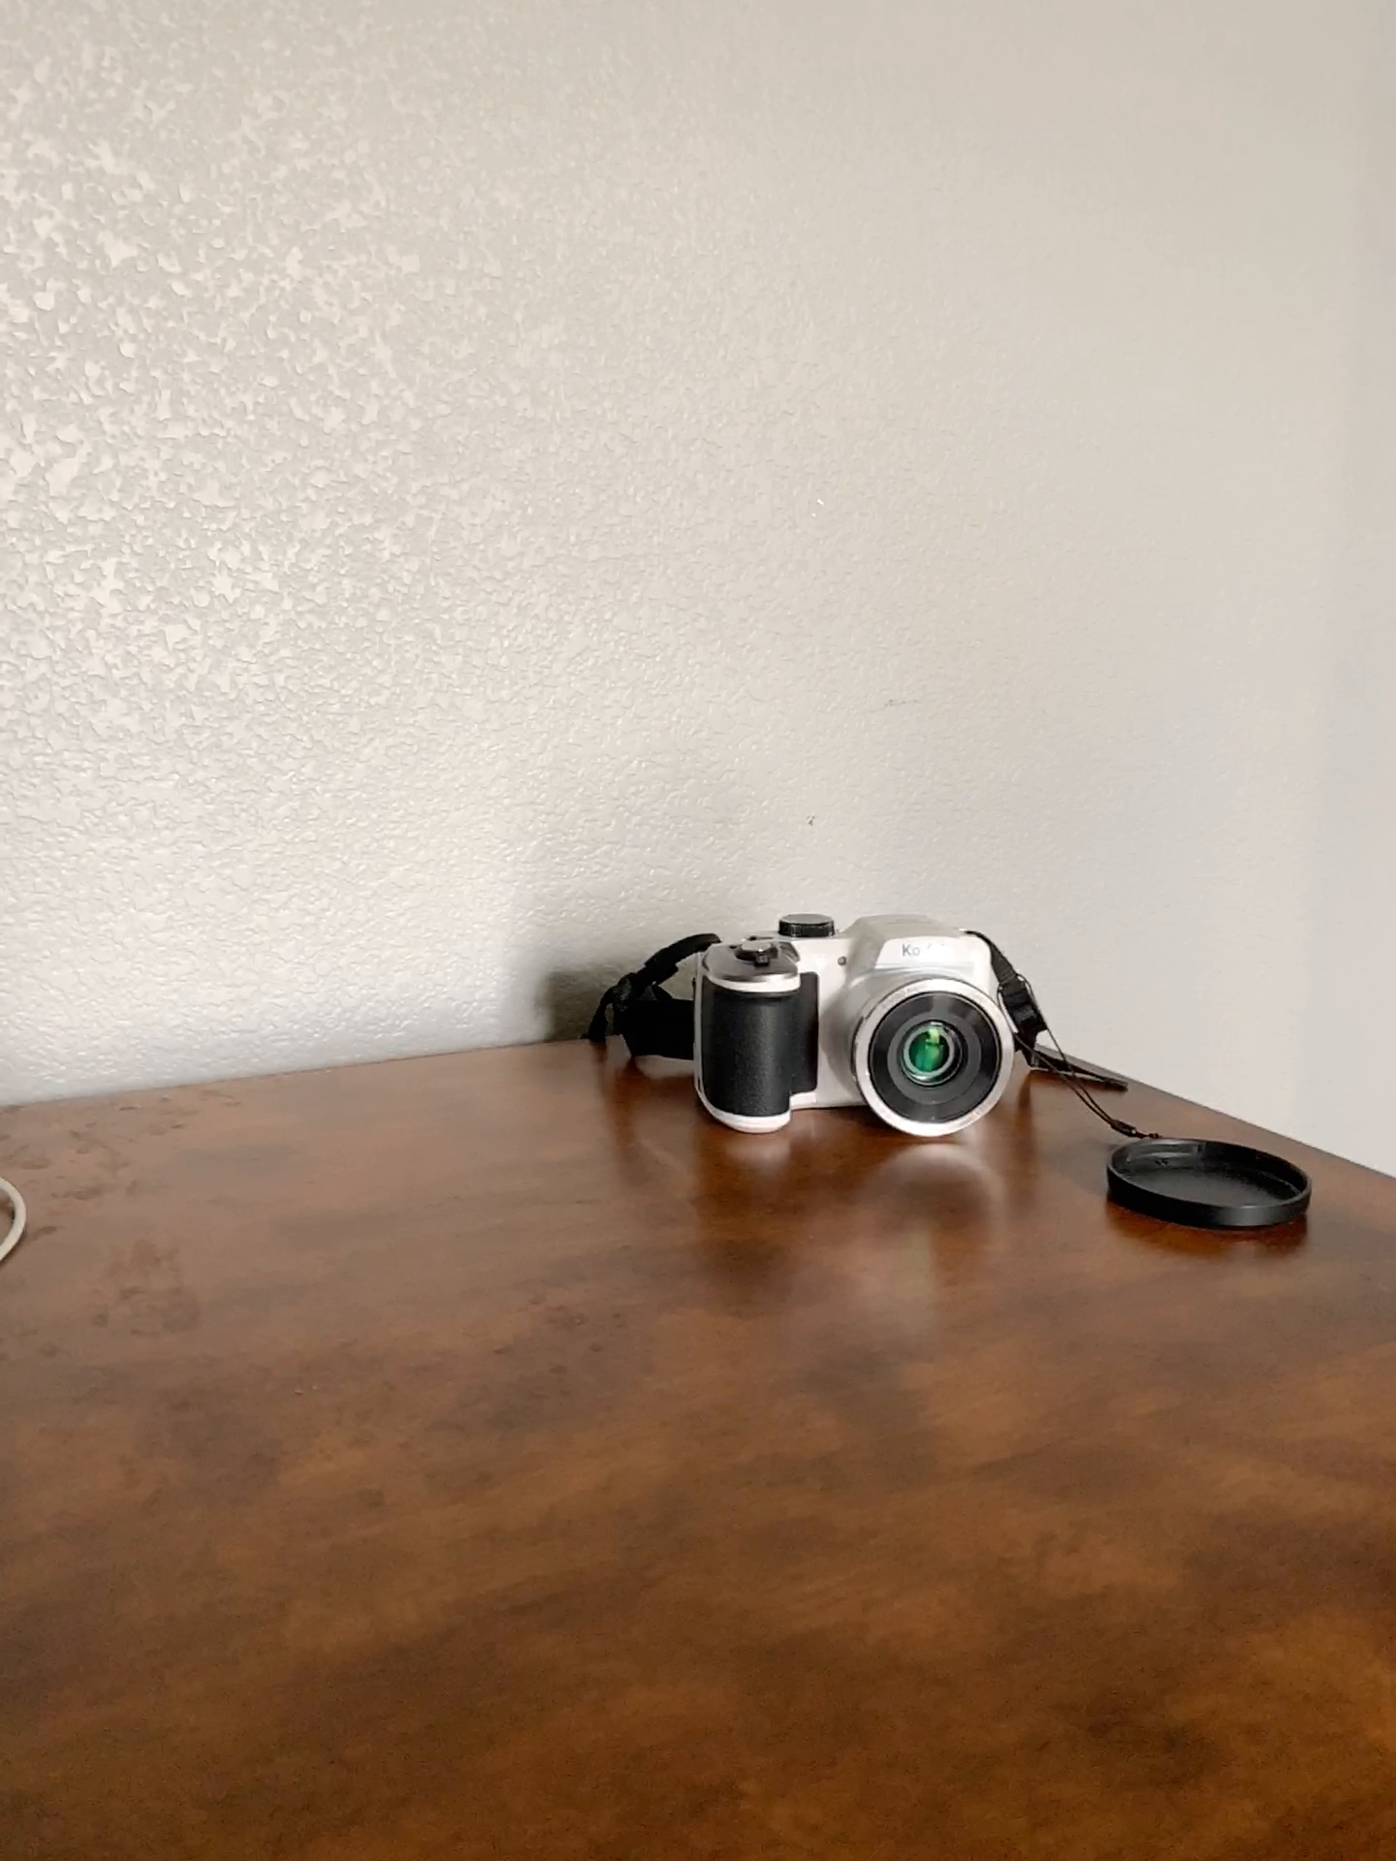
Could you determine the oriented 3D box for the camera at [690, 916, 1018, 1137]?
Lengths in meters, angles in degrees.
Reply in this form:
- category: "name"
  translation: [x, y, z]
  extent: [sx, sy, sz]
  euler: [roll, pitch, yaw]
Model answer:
- category: "camera"
  translation: [0.057, 0.035, 0.559]
  extent: [0.119, 0.071, 0.070]
  euler: [0, 9, 0]
